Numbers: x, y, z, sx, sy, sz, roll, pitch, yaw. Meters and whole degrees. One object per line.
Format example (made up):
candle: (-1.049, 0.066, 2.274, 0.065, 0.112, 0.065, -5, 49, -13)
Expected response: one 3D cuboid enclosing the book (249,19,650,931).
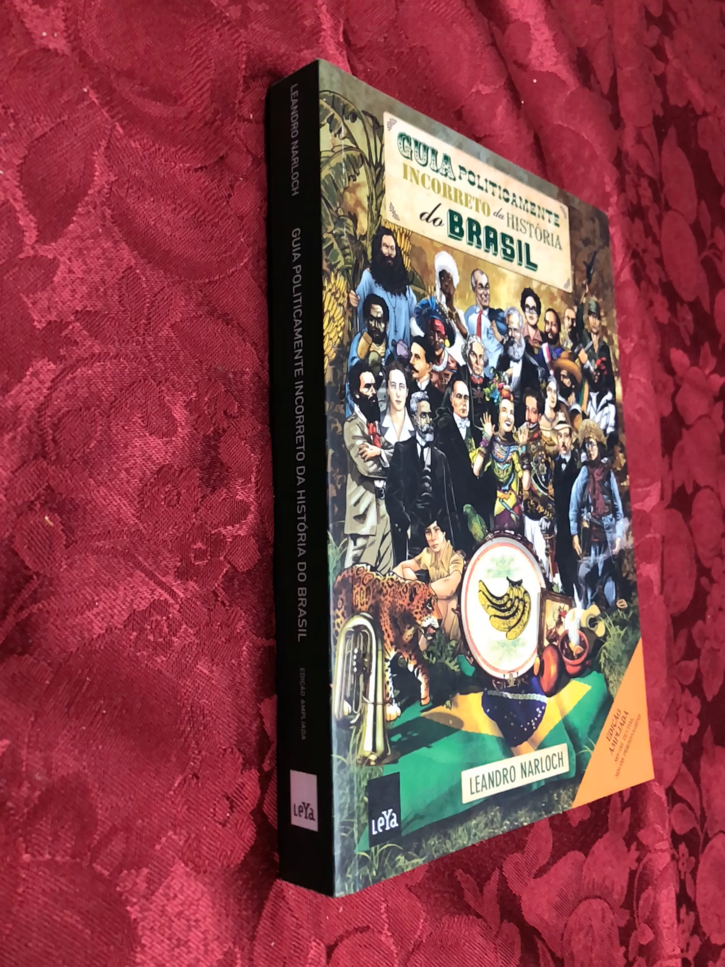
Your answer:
book: (0.038, -0.003, 0.268, 0.161, 0.030, 0.230, 2, 85, -43)
